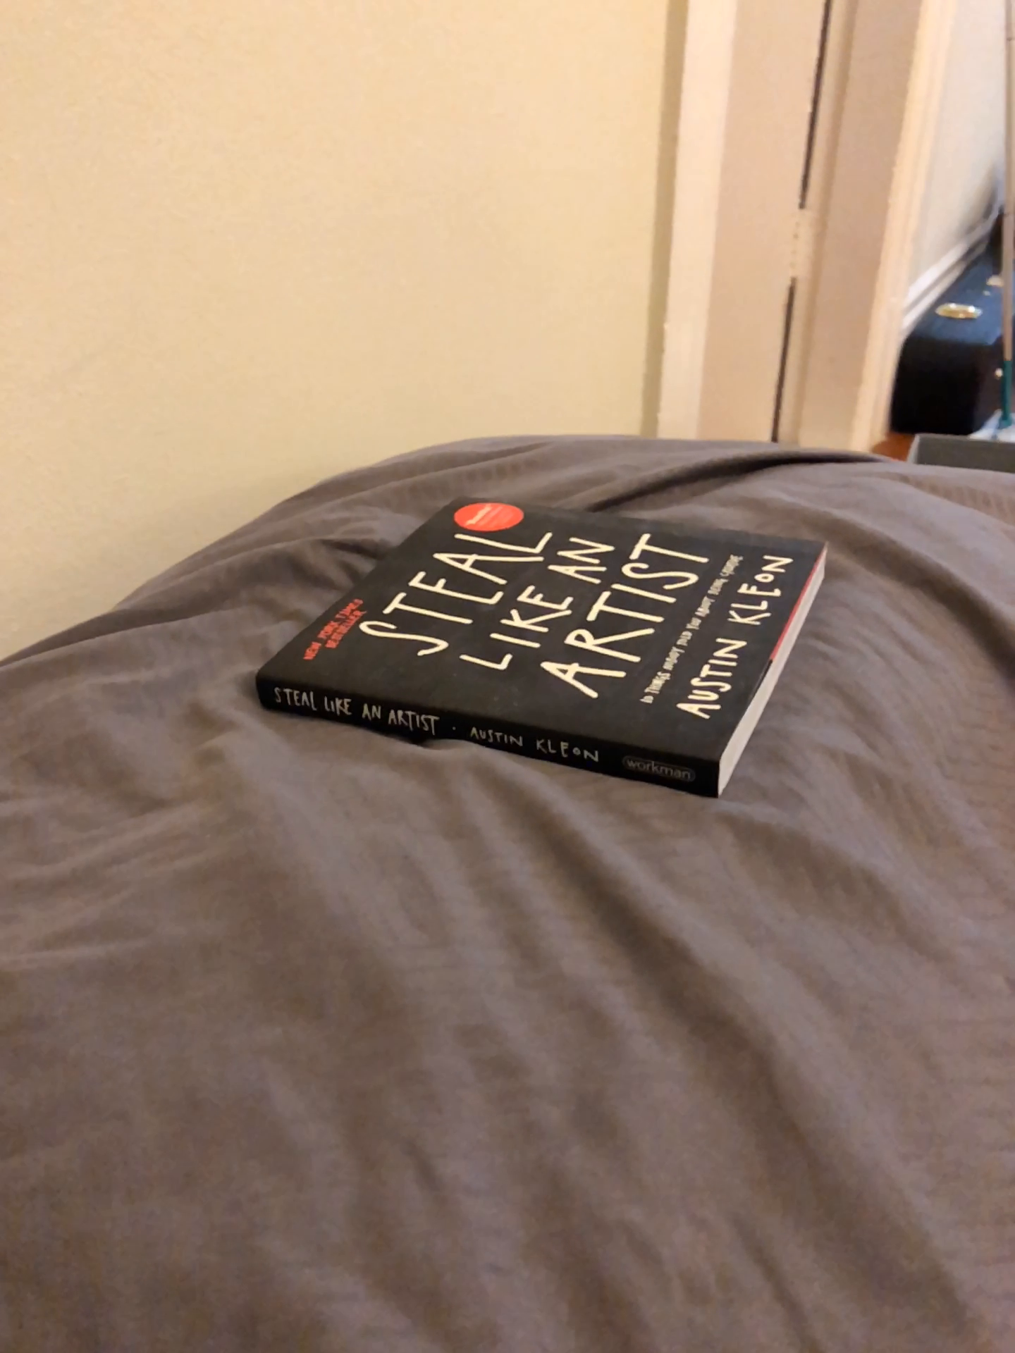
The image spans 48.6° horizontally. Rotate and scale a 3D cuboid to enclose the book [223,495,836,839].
[{"bbox_3d":[0.017,-0.017,0.389,0.160,0.020,0.161,11,32,21],"label":"book"}]
